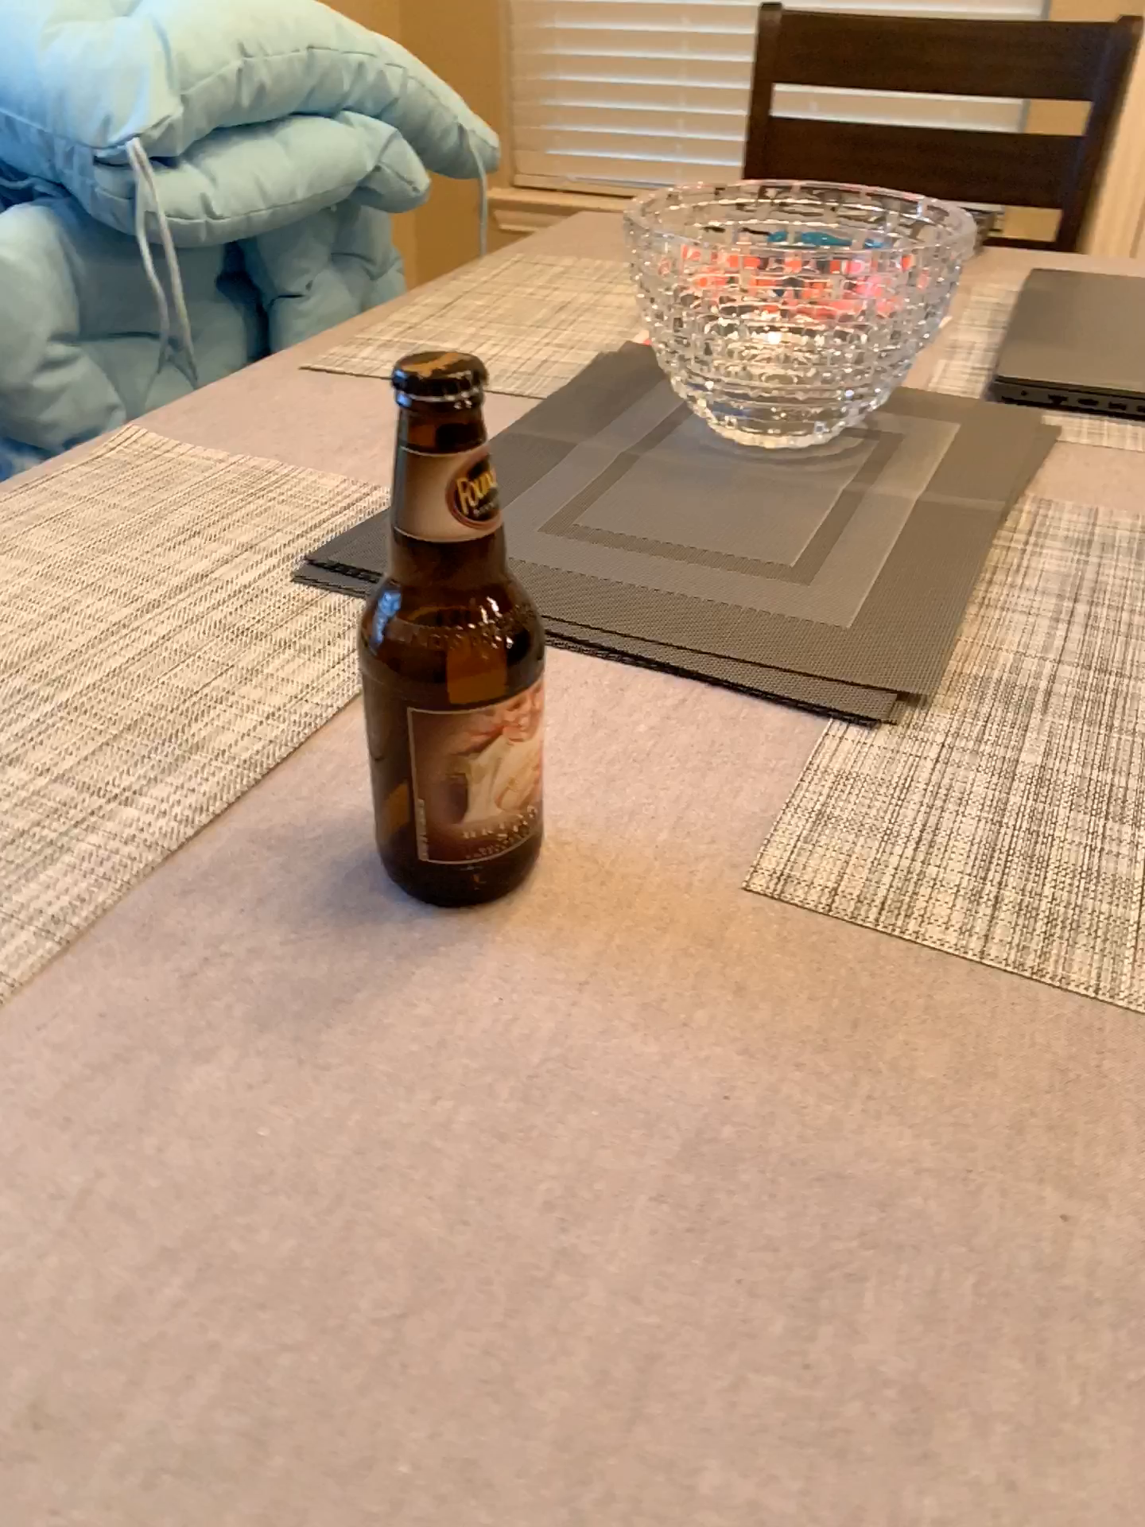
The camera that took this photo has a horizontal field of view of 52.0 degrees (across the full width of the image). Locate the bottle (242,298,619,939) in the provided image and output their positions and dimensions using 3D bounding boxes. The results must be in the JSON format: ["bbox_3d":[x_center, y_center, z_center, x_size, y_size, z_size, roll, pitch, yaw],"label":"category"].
[{"bbox_3d":[-0.042,-0.047,0.405,0.080,0.189,0.080,0,35,0],"label":"bottle"}]
